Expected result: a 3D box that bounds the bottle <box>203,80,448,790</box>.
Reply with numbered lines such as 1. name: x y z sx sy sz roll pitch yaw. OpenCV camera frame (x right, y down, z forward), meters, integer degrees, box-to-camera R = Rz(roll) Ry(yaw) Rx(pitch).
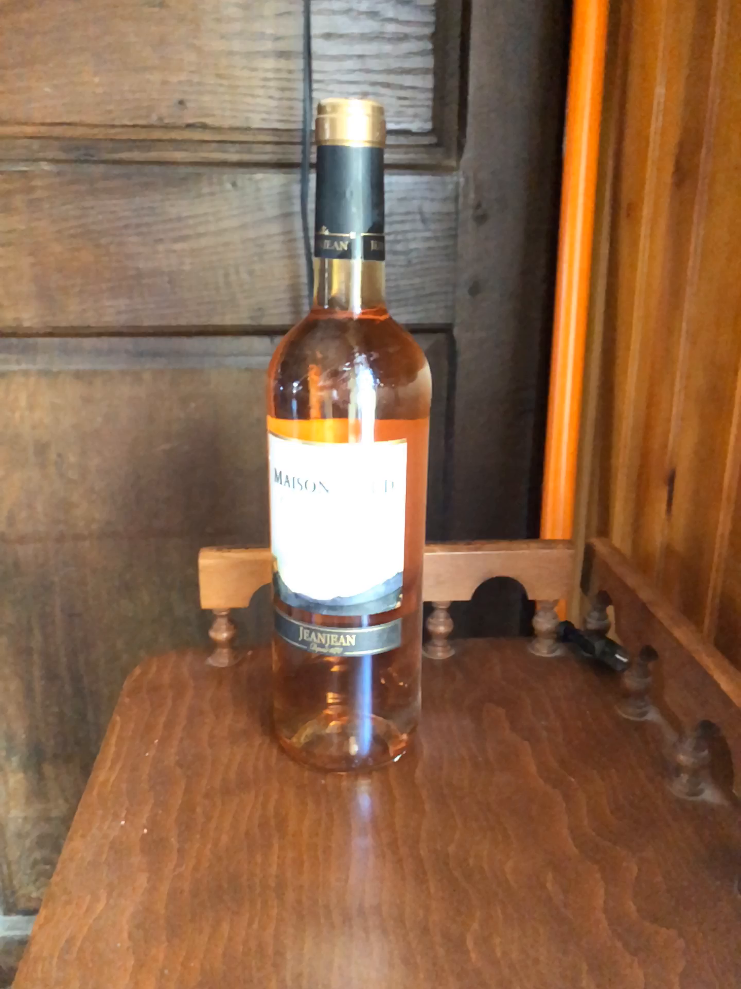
1. bottle: -0.015 -0.018 0.364 0.080 0.289 0.070 4 18 12
